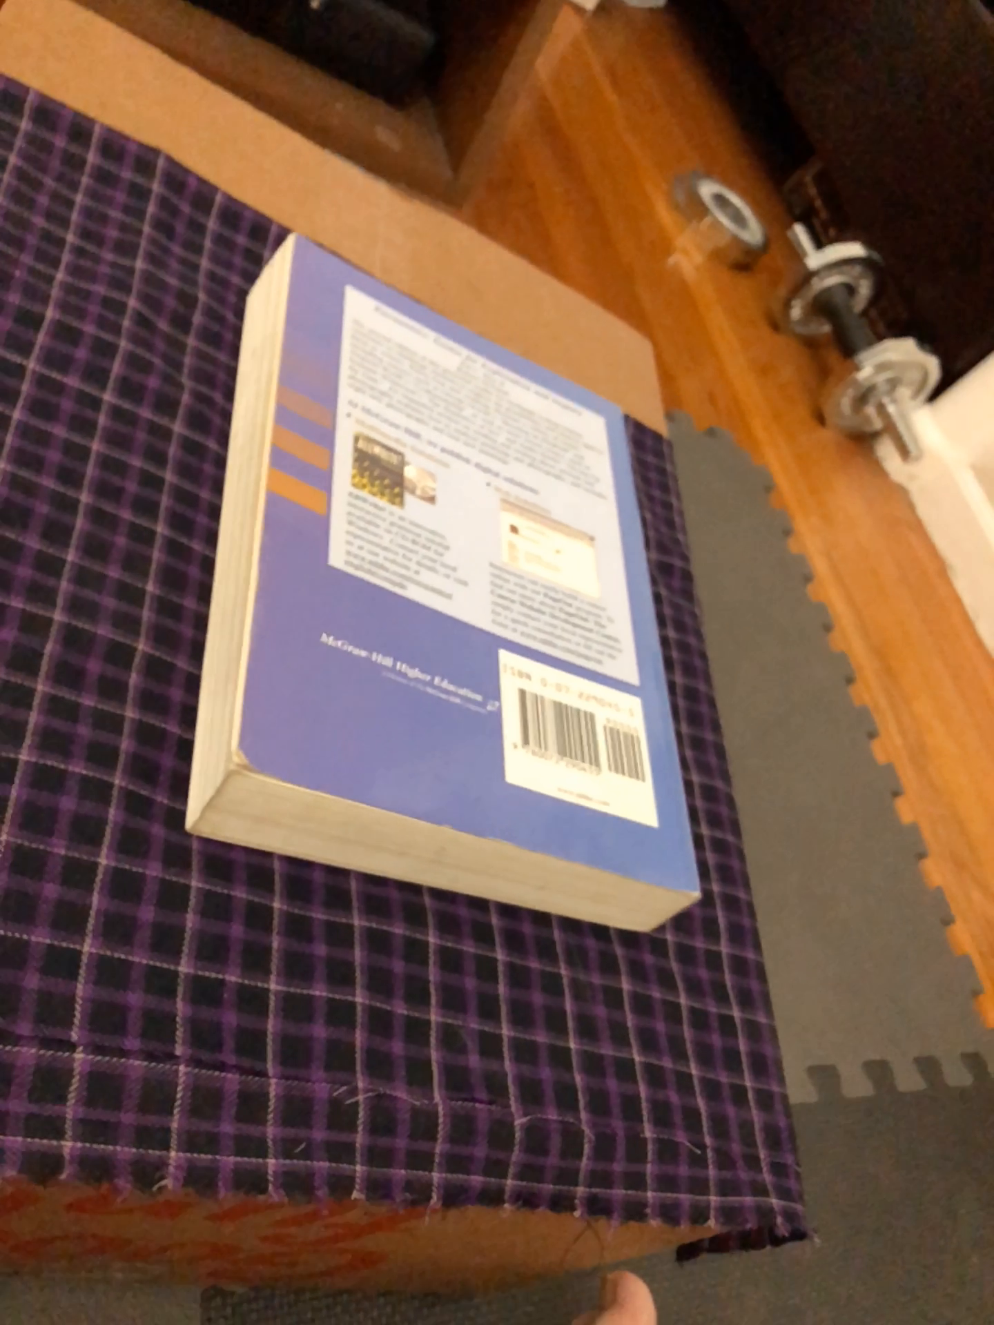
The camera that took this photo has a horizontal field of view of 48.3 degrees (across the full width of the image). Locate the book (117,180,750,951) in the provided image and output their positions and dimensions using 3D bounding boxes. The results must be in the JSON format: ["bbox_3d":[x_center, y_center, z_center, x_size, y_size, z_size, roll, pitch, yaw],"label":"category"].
[{"bbox_3d":[-0.017,-0.038,0.377,0.180,0.040,0.241,19,48,-29],"label":"book"}]
